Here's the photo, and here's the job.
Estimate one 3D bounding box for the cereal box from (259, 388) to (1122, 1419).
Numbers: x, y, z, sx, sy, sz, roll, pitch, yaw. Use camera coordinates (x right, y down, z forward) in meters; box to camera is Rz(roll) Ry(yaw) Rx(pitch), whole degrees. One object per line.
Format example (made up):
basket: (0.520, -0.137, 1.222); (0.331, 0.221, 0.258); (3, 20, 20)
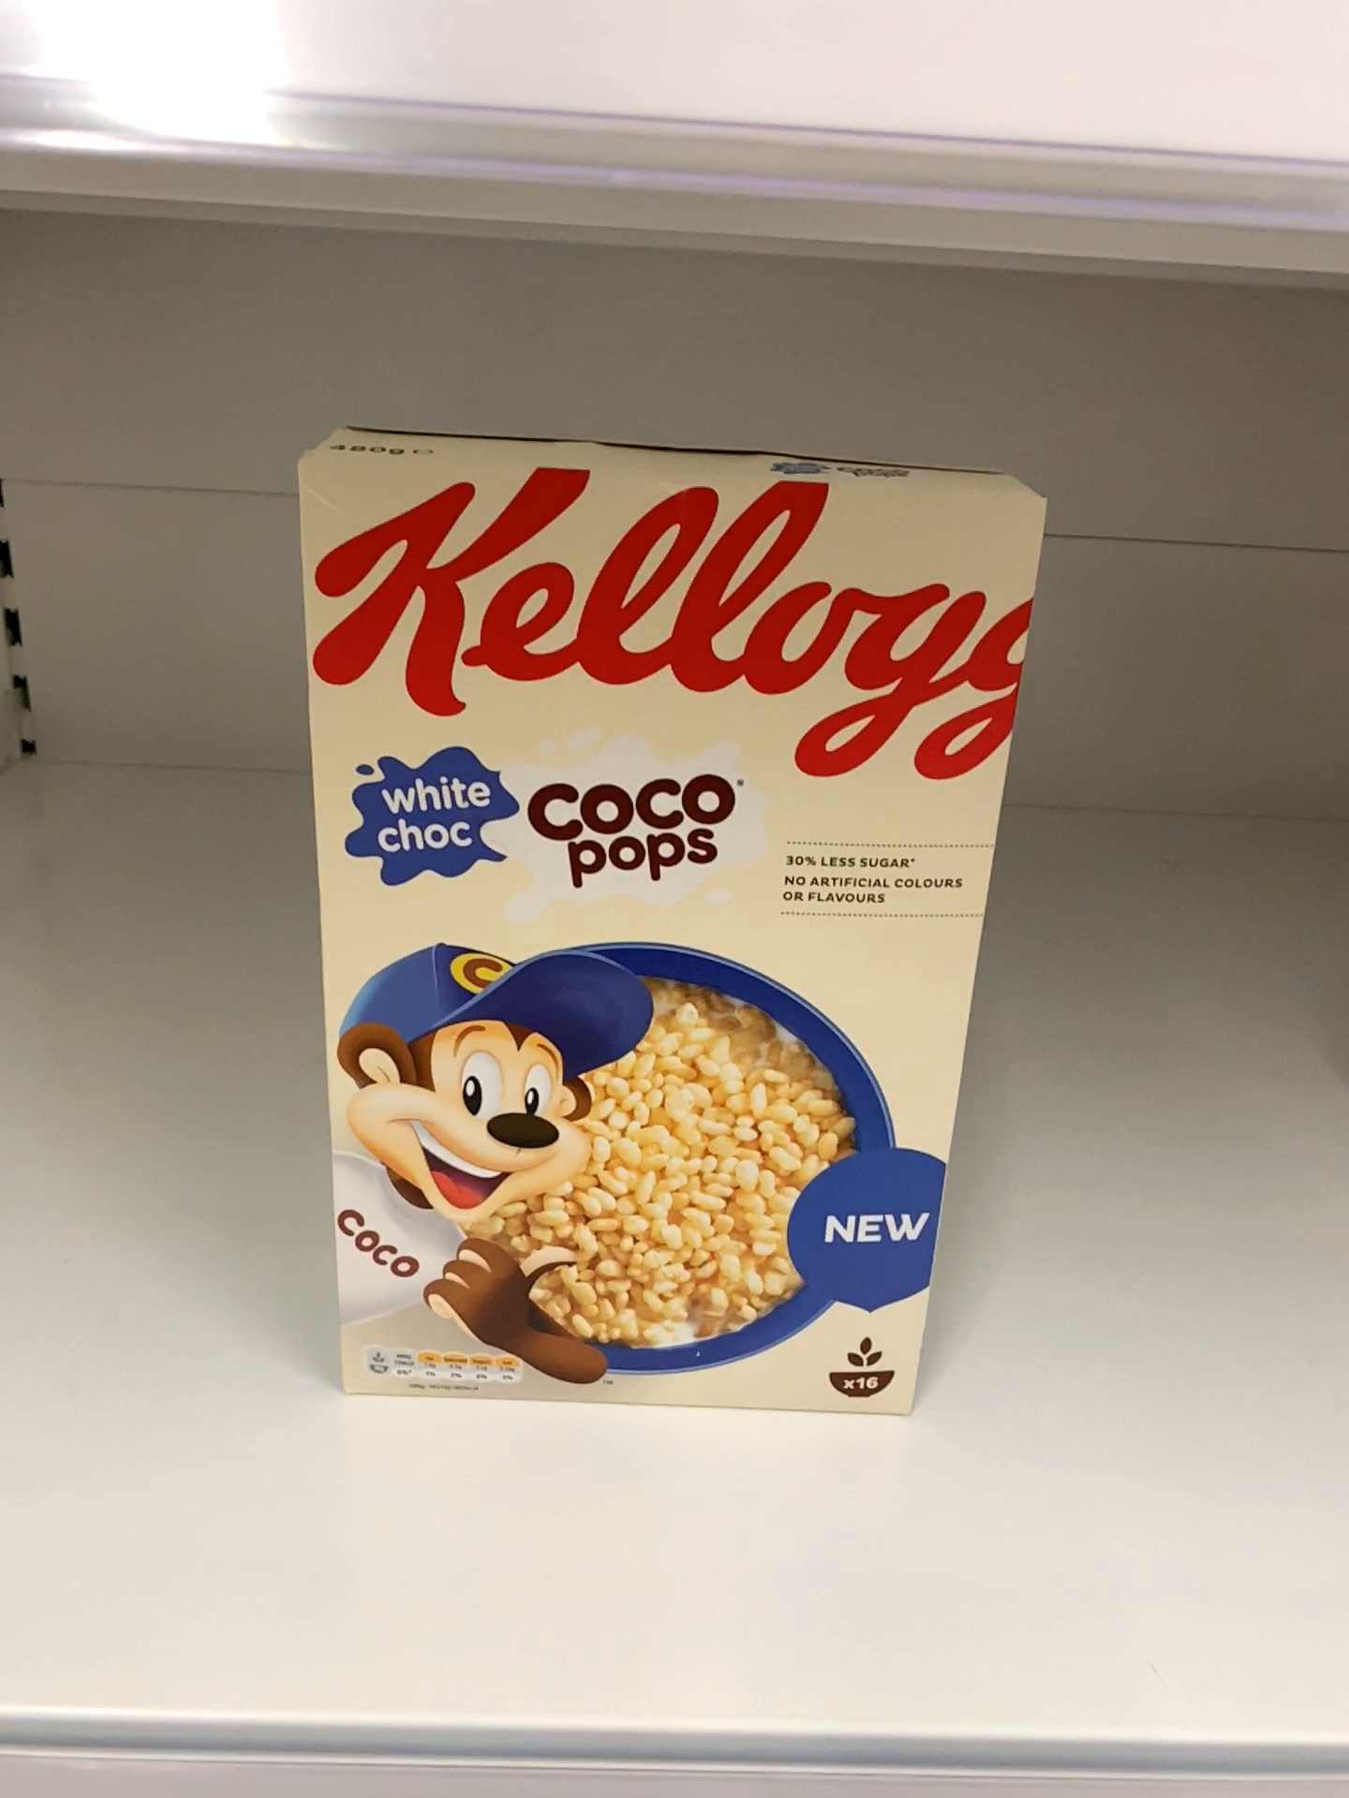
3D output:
cereal box: (-0.004, 0.010, 0.423); (0.210, 0.298, 0.071); (3, 21, -1)
